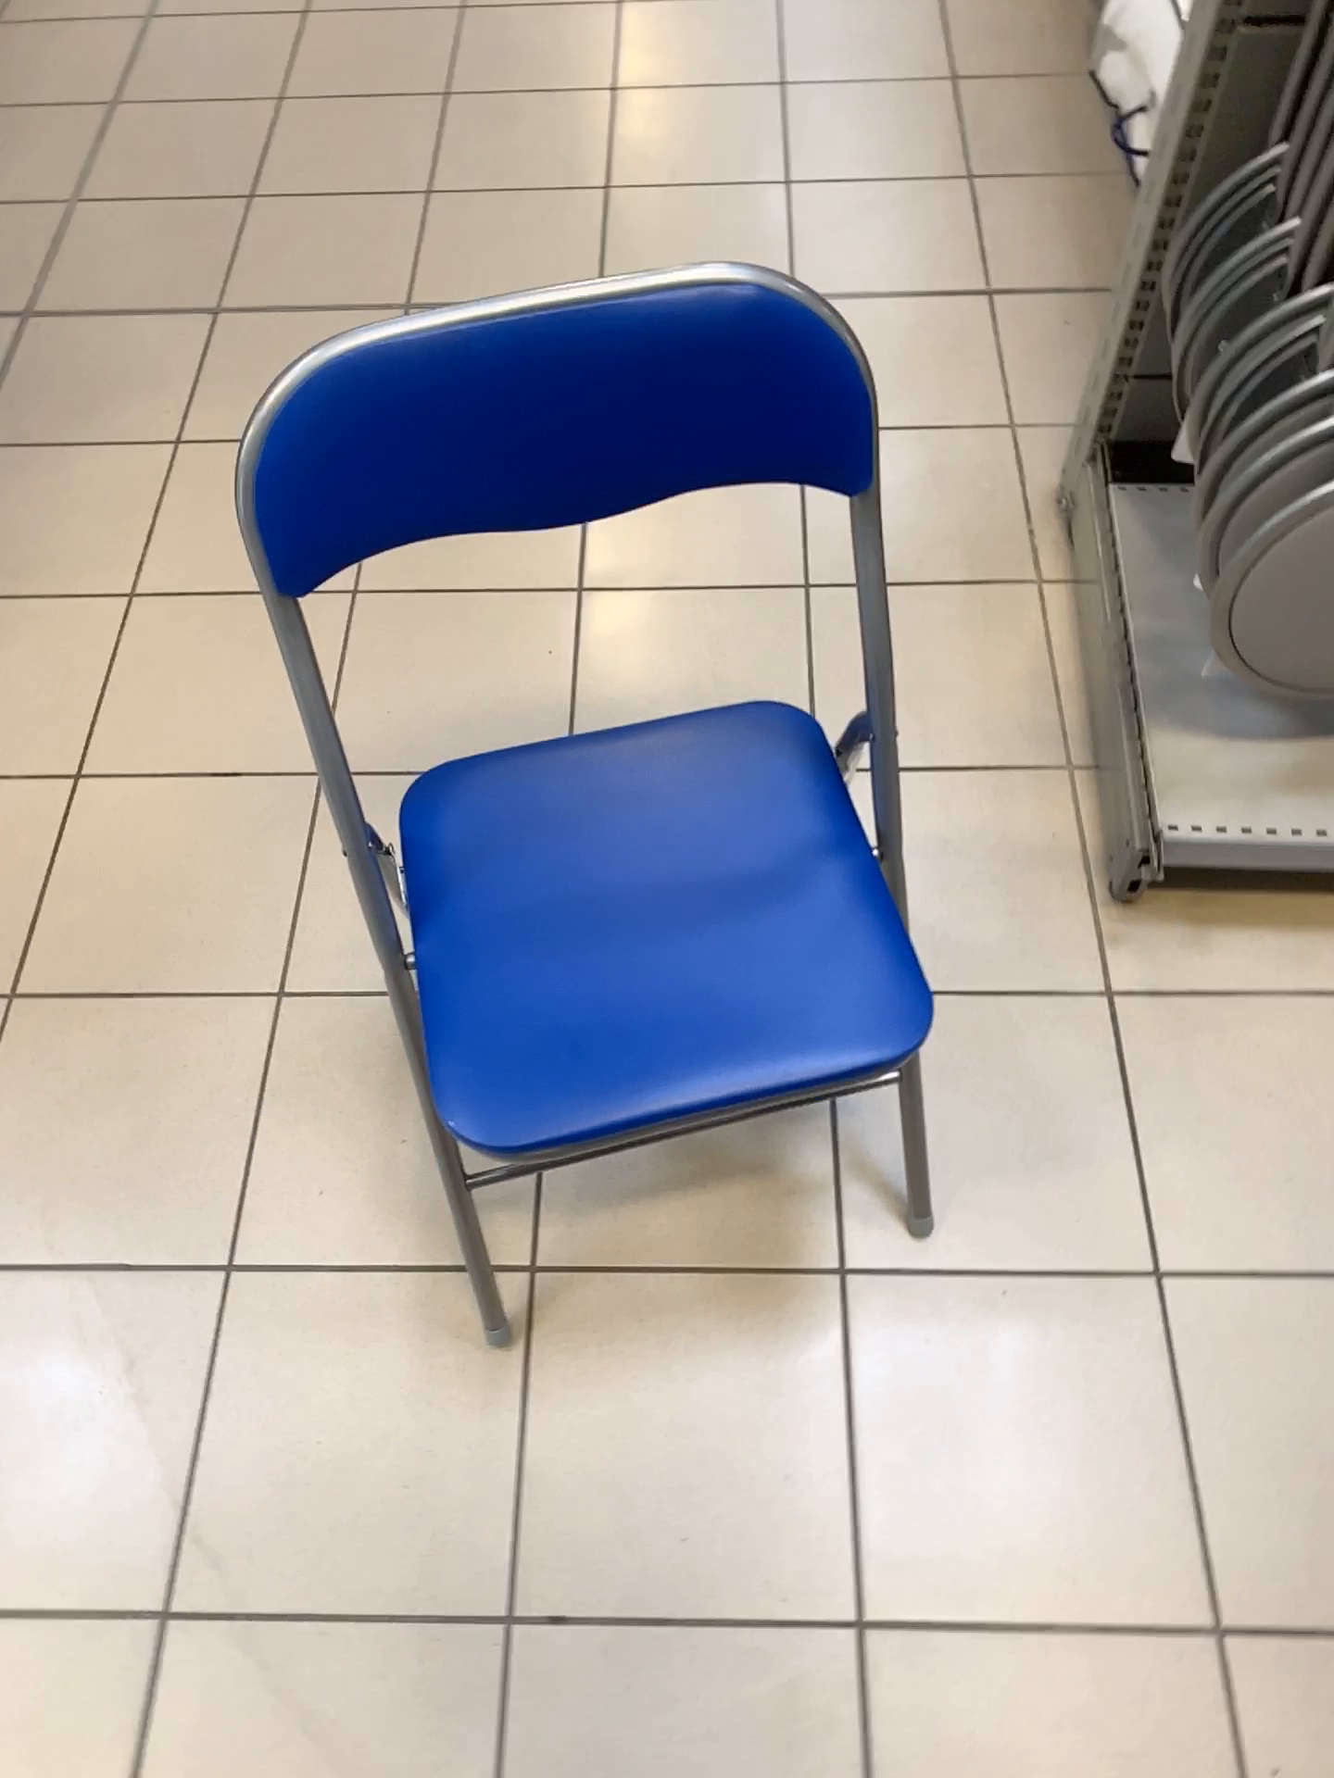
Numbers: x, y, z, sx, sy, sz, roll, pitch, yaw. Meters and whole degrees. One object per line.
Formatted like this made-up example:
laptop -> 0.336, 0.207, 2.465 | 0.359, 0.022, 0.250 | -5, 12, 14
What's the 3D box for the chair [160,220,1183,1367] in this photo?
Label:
chair -> -0.027, -0.023, 1.071 | 0.478, 0.664, 0.526 | -13, 59, -6
